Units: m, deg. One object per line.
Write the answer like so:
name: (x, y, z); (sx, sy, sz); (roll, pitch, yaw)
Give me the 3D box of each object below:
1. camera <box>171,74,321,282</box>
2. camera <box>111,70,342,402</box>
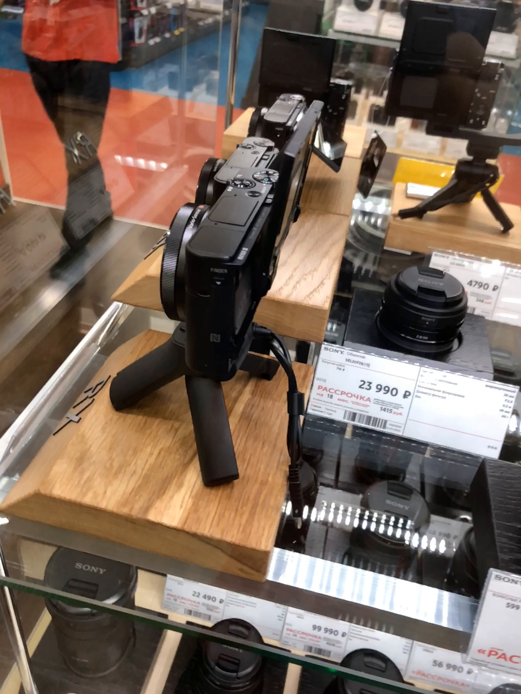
camera: (-0.009, -0.120, 0.397); (0.069, 0.097, 0.109); (13, 37, 7)
camera: (-0.011, -0.054, 0.253); (0.062, 0.097, 0.109); (13, 37, 7)
